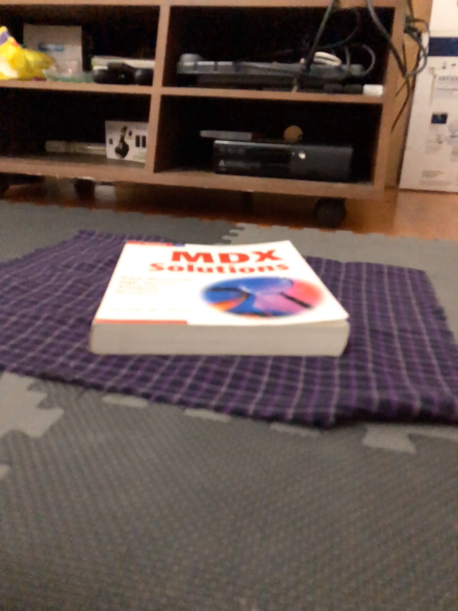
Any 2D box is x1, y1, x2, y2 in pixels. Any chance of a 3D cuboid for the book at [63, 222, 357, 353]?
[{"bbox_3d":[-0.024,-0.032,0.499,0.220,0.050,0.261,1,20,-6],"label":"book"}]
